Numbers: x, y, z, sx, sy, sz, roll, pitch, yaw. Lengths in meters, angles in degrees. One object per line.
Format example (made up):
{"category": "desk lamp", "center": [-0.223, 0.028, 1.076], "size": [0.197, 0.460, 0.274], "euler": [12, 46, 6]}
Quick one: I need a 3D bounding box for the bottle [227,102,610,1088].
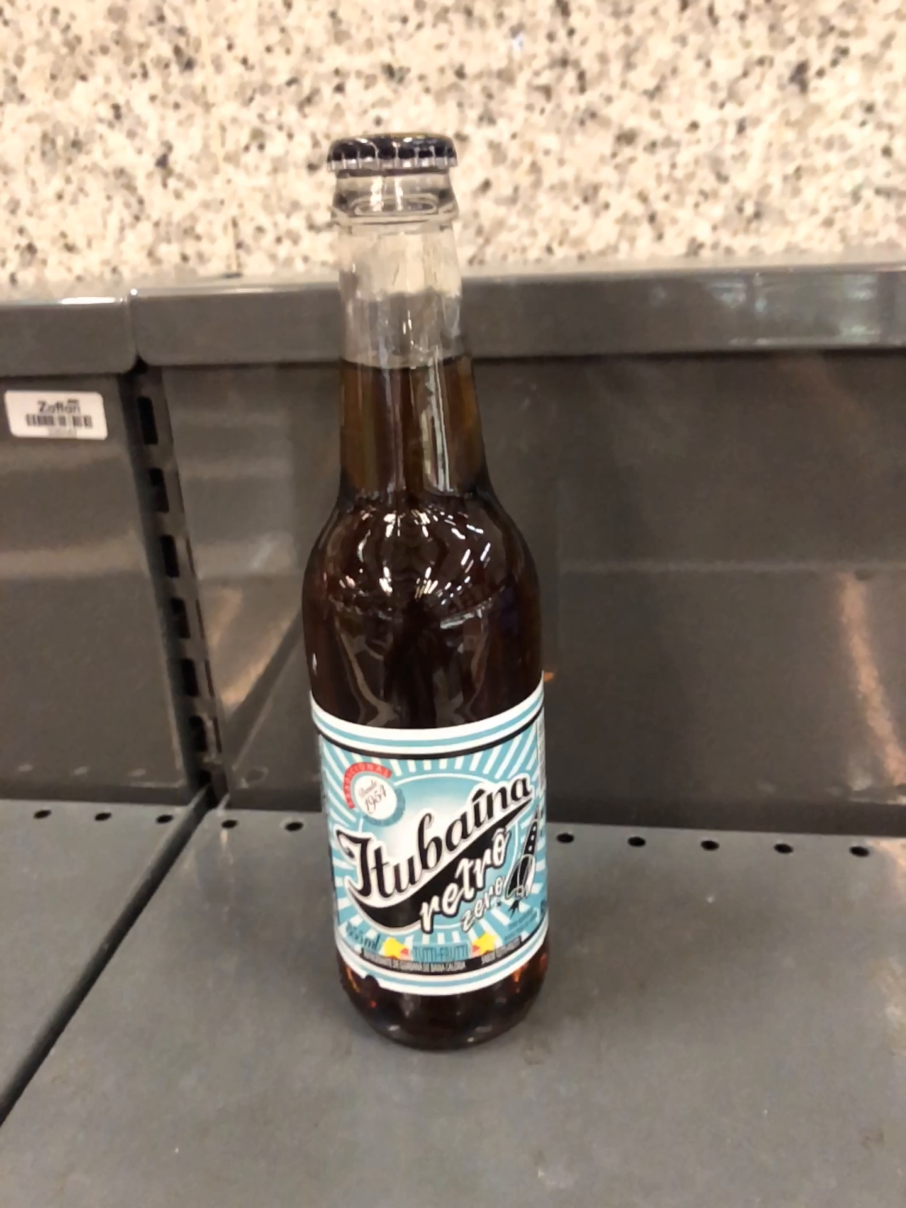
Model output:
{"category": "bottle", "center": [-0.002, 0.010, 0.253], "size": [0.070, 0.238, 0.050], "euler": [-3, 23, -1]}
